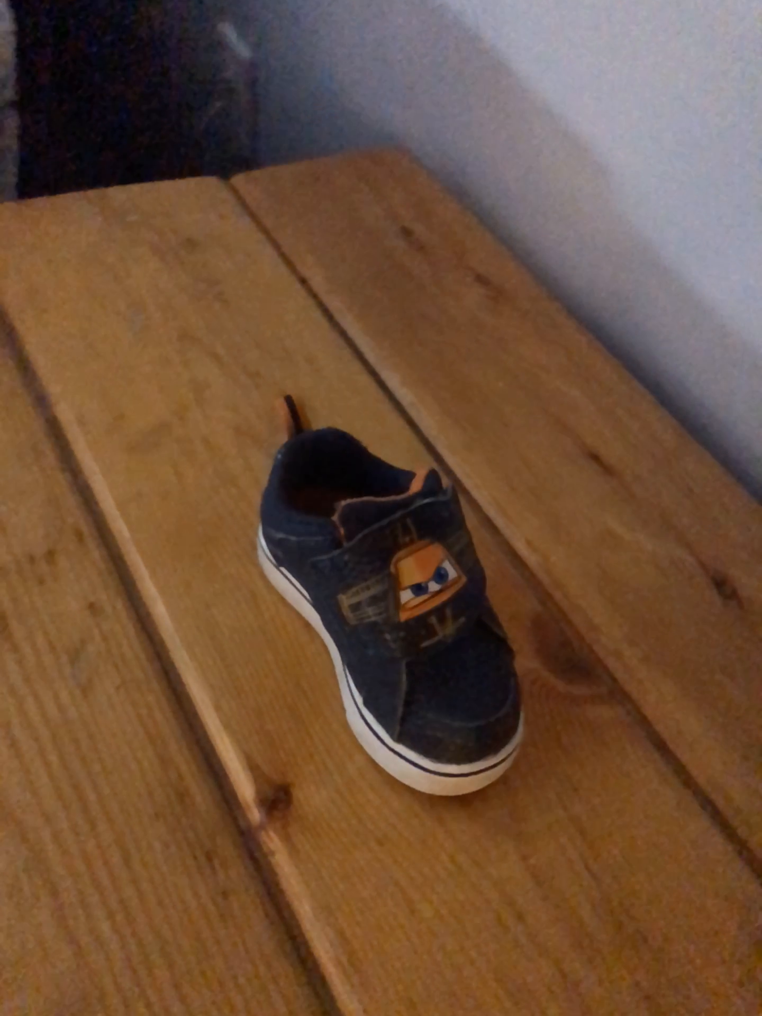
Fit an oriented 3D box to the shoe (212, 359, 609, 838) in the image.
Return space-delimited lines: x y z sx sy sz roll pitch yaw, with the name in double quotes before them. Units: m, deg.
"shoe" 0.000 0.027 0.329 0.070 0.070 0.160 -19 58 -26
